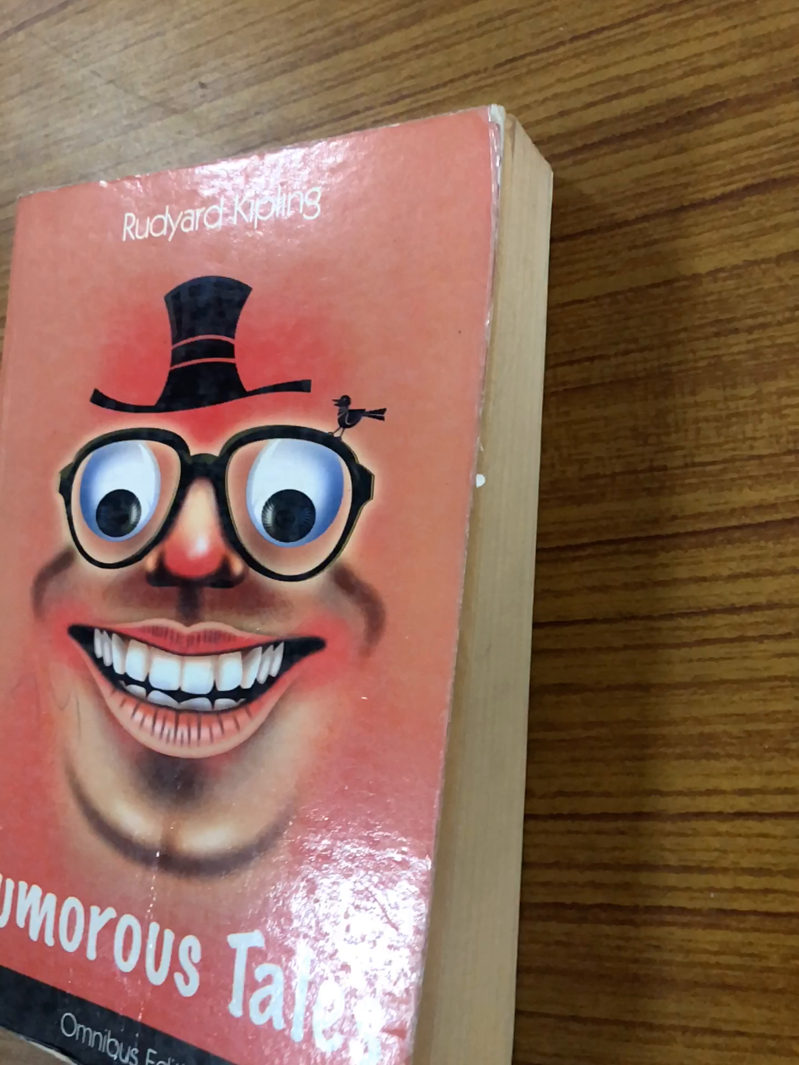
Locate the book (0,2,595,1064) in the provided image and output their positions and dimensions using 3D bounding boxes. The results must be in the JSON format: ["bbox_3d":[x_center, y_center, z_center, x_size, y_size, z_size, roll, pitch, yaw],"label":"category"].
[{"bbox_3d":[-0.034,0.011,0.190,0.130,0.040,0.190,2,86,35],"label":"book"}]
